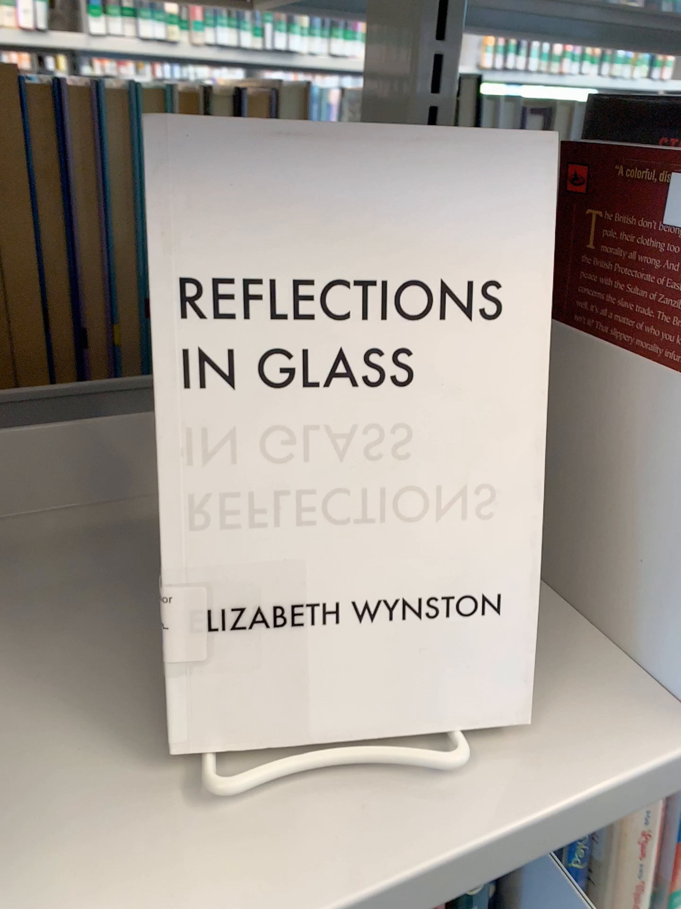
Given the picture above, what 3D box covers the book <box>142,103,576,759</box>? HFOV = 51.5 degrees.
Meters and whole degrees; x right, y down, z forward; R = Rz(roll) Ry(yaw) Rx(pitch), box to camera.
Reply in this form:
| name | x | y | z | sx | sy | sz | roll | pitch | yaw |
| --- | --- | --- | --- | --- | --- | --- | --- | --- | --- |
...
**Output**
| name | x | y | z | sx | sy | sz | roll | pitch | yaw |
| --- | --- | --- | --- | --- | --- | --- | --- | --- | --- |
| book | 0.006 | -0.002 | 0.229 | 0.127 | 0.196 | 0.018 | -1 | 10 | -9 |
